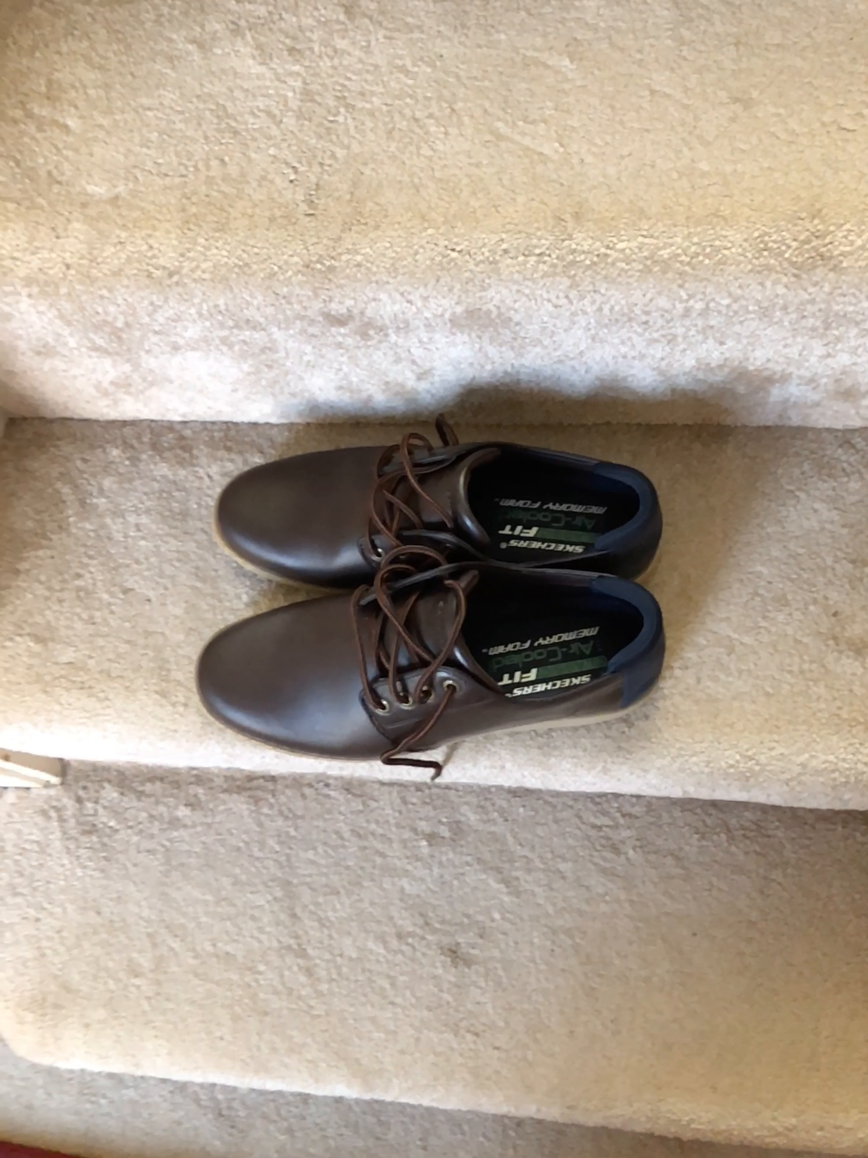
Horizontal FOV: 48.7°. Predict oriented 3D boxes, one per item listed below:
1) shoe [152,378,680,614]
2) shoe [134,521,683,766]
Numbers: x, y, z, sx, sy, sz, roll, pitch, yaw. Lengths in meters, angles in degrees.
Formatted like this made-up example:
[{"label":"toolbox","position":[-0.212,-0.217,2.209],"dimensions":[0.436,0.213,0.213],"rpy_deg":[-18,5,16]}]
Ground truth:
[{"label":"shoe","position":[-0.008,-0.046,0.597],"dimensions":[0.300,0.090,0.110],"rpy_deg":[-1,70,9]},{"label":"shoe","position":[-0.014,0.044,0.577],"dimensions":[0.300,0.090,0.110],"rpy_deg":[-4,69,8]}]
